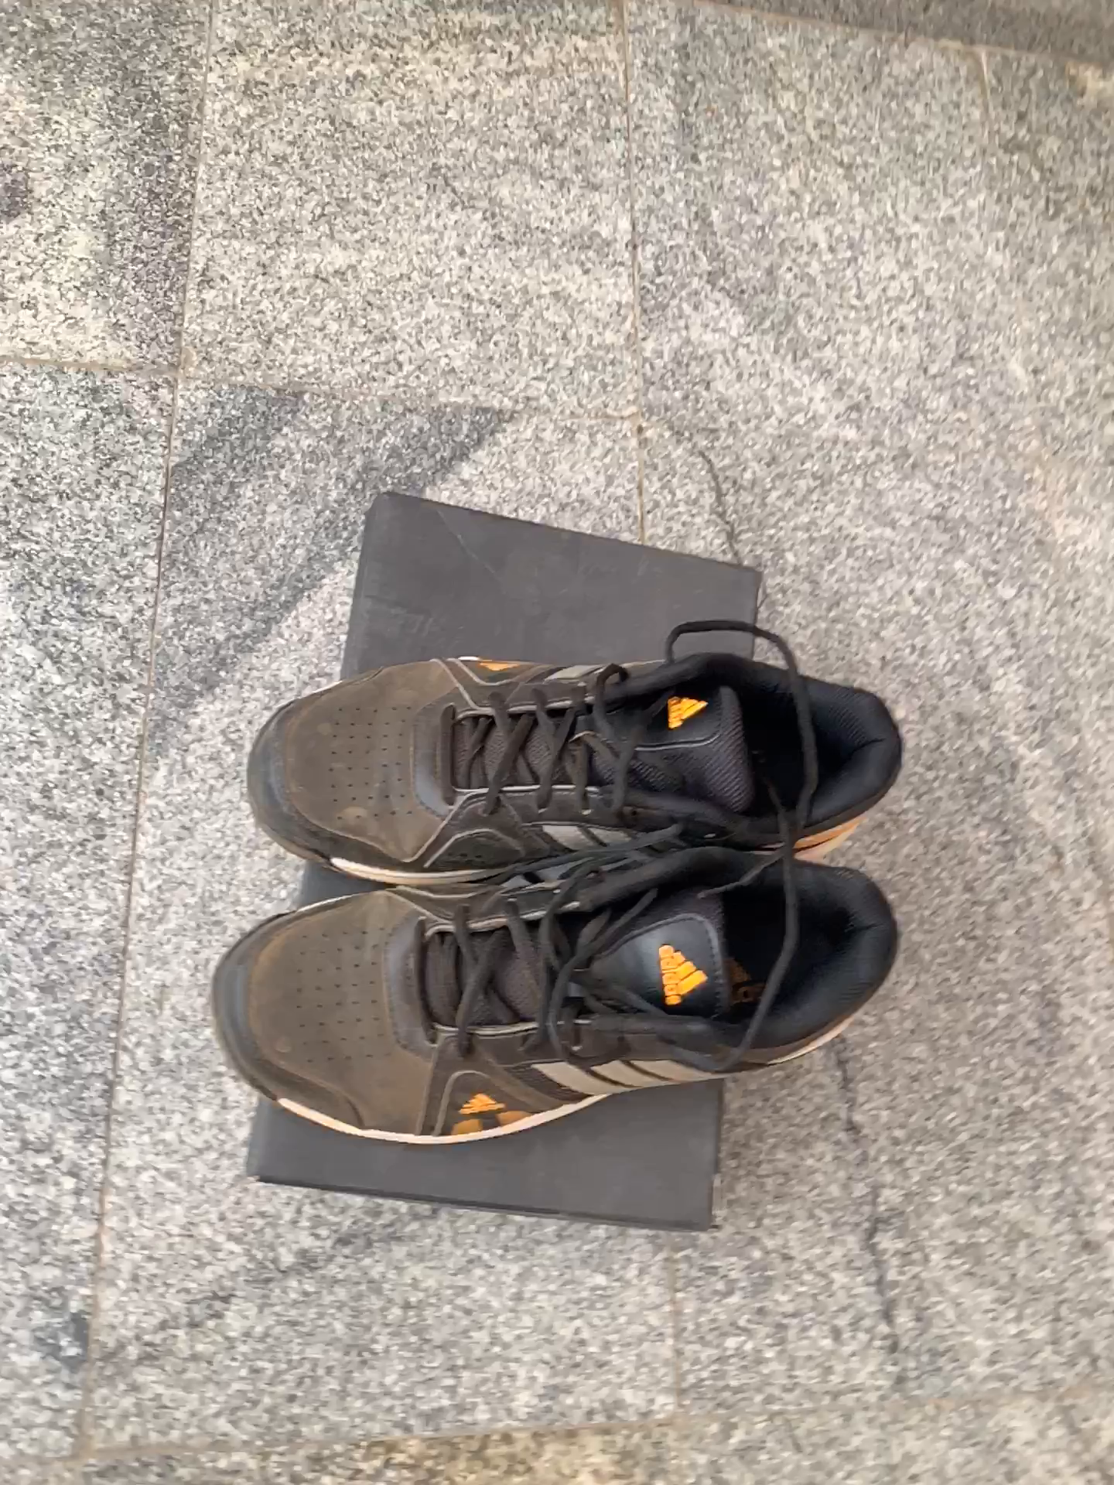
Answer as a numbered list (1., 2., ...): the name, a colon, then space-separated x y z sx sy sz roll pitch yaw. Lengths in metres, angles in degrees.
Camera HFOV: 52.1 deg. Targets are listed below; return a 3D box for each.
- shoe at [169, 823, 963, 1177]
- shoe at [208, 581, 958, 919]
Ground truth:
1. shoe: 0.000 0.108 0.483 0.300 0.090 0.110 -2 67 -12
2. shoe: 0.011 0.011 0.489 0.290 0.090 0.110 3 74 -10
